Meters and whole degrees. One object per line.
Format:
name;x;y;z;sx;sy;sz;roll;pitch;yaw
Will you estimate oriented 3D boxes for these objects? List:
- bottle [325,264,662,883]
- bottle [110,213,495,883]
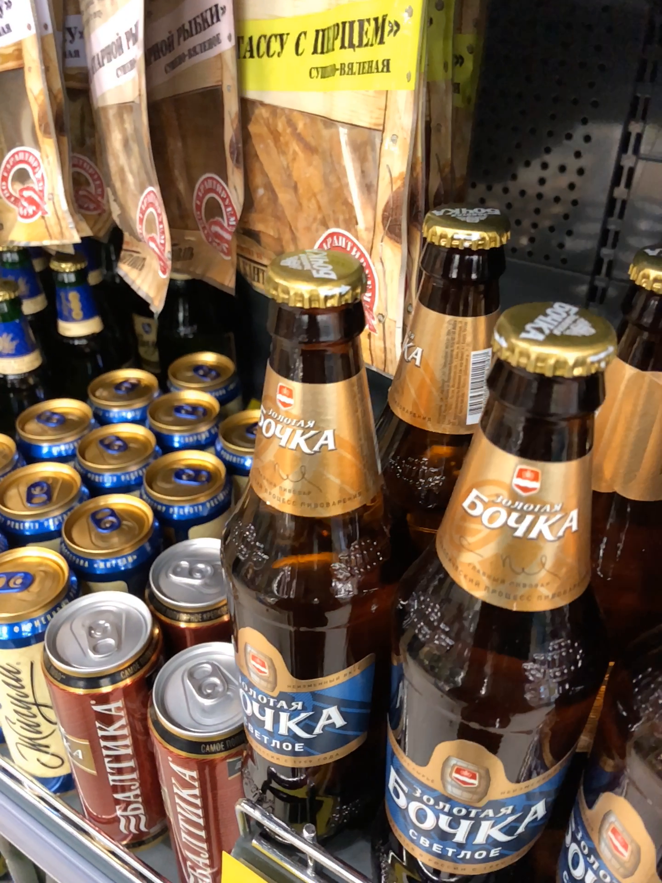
bottle;0.041;0.074;0.221;0.070;0.234;0.060;11;35;15
bottle;-0.008;0.053;0.254;0.070;0.234;0.070;0;34;0
